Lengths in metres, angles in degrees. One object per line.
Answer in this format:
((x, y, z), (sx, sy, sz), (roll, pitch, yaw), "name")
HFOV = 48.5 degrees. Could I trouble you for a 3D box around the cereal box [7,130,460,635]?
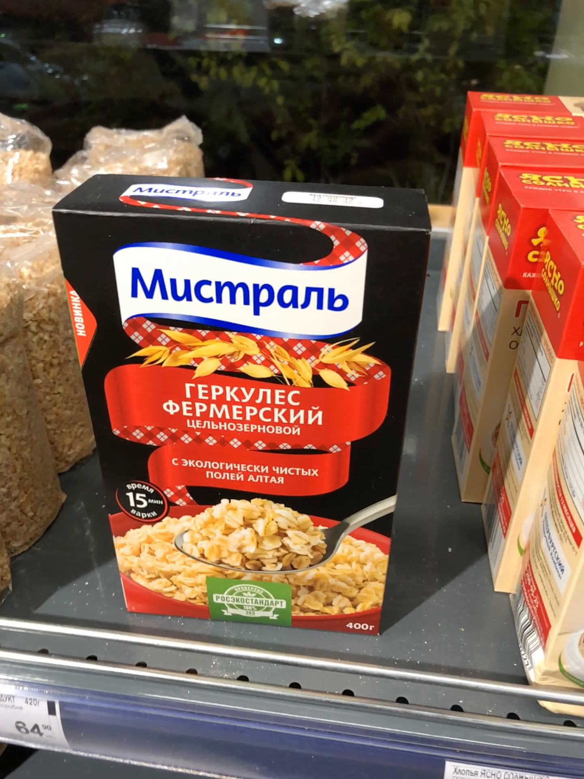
((-0.018, 0.011, 0.280), (0.140, 0.219, 0.050), (4, 34, 4), "cereal box")
